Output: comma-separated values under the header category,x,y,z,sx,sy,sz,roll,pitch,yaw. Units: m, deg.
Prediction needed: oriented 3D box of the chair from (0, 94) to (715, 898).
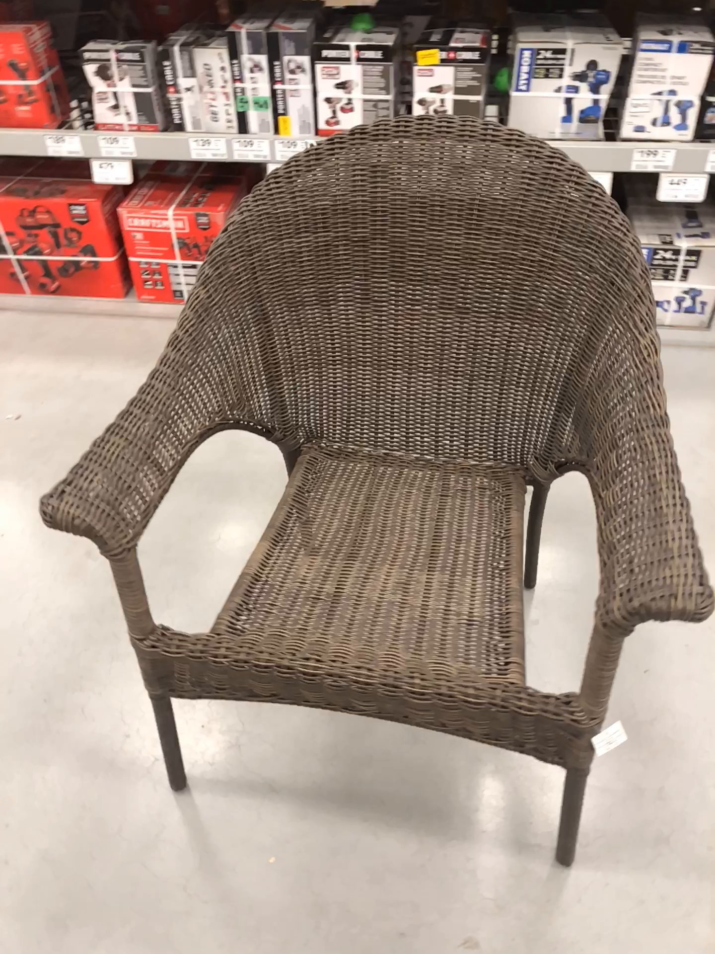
category,x,y,z,sx,sy,sz,roll,pitch,yaw
chair,0.075,-0.005,1.150,0.720,0.797,0.763,6,43,9
